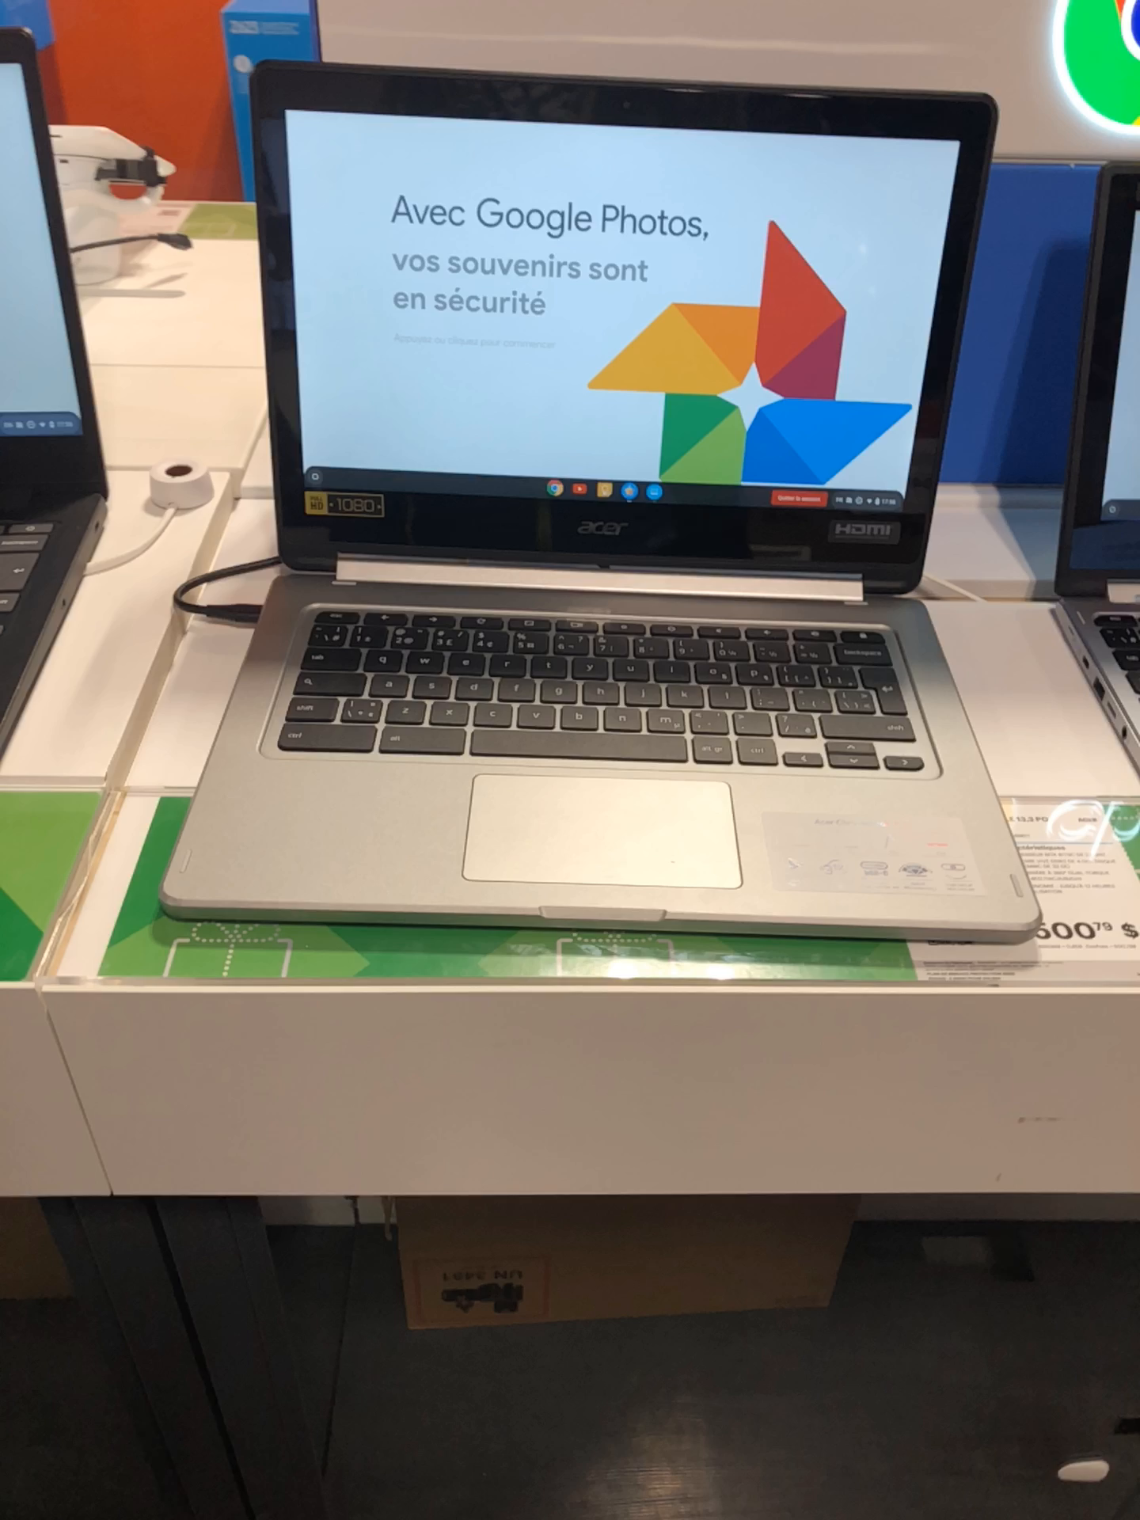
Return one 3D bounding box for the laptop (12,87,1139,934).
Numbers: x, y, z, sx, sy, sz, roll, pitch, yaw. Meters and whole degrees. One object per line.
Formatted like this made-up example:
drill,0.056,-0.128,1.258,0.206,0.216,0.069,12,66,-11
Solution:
laptop,0.016,-0.104,0.480,0.317,0.226,0.240,2,38,-1
